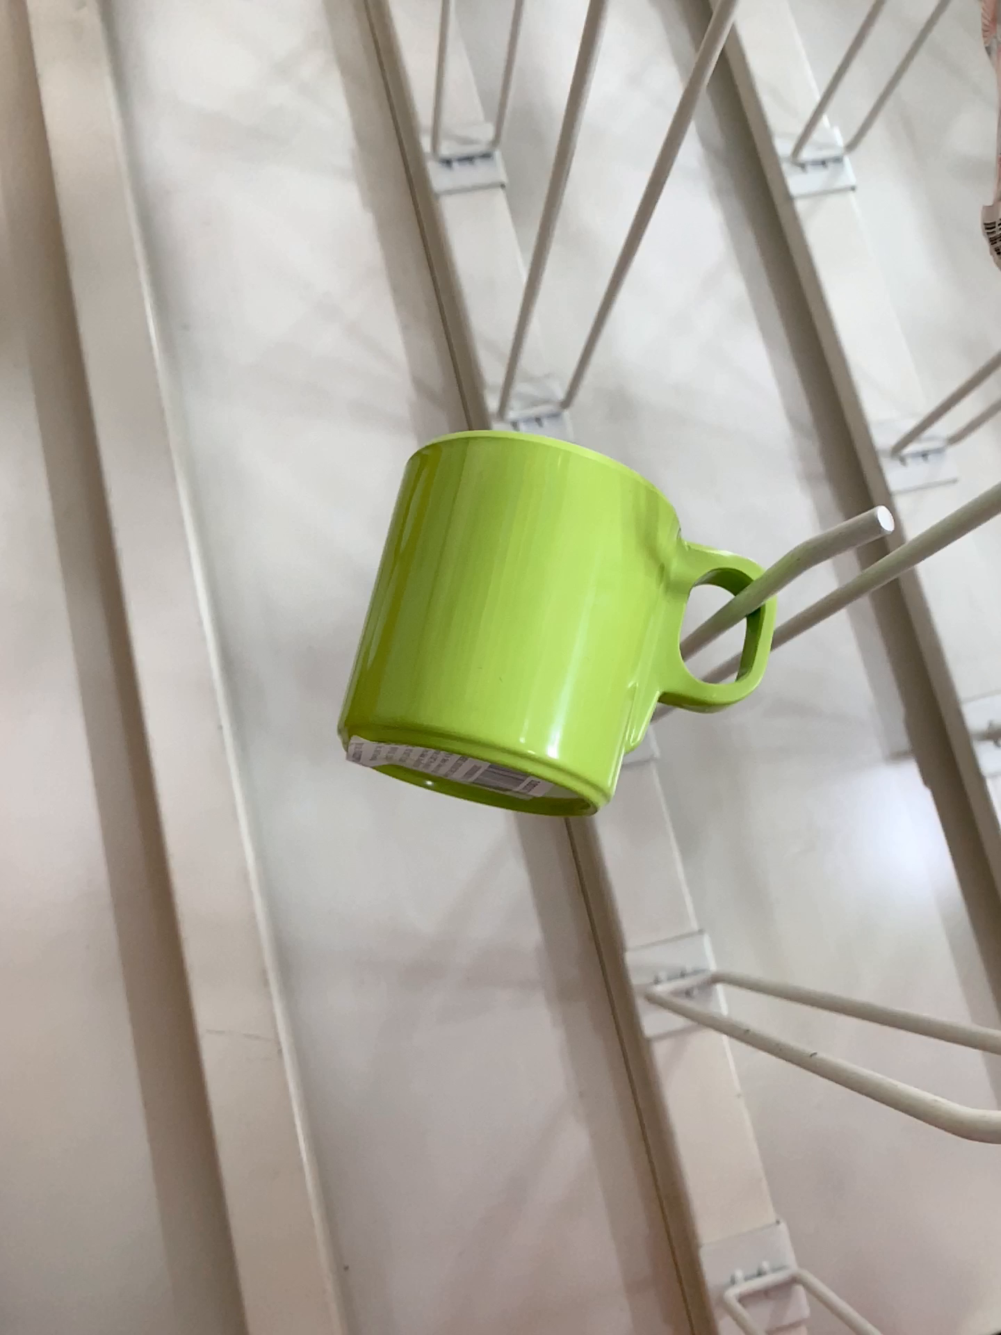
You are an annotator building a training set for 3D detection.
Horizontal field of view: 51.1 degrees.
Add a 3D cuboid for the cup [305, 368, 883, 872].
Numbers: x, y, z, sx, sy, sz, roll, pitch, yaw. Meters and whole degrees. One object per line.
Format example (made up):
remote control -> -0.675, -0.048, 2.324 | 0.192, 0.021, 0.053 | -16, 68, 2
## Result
cup -> 0.016, -0.001, 0.267 | 0.100, 0.110, 0.080 | 130, -25, -75
